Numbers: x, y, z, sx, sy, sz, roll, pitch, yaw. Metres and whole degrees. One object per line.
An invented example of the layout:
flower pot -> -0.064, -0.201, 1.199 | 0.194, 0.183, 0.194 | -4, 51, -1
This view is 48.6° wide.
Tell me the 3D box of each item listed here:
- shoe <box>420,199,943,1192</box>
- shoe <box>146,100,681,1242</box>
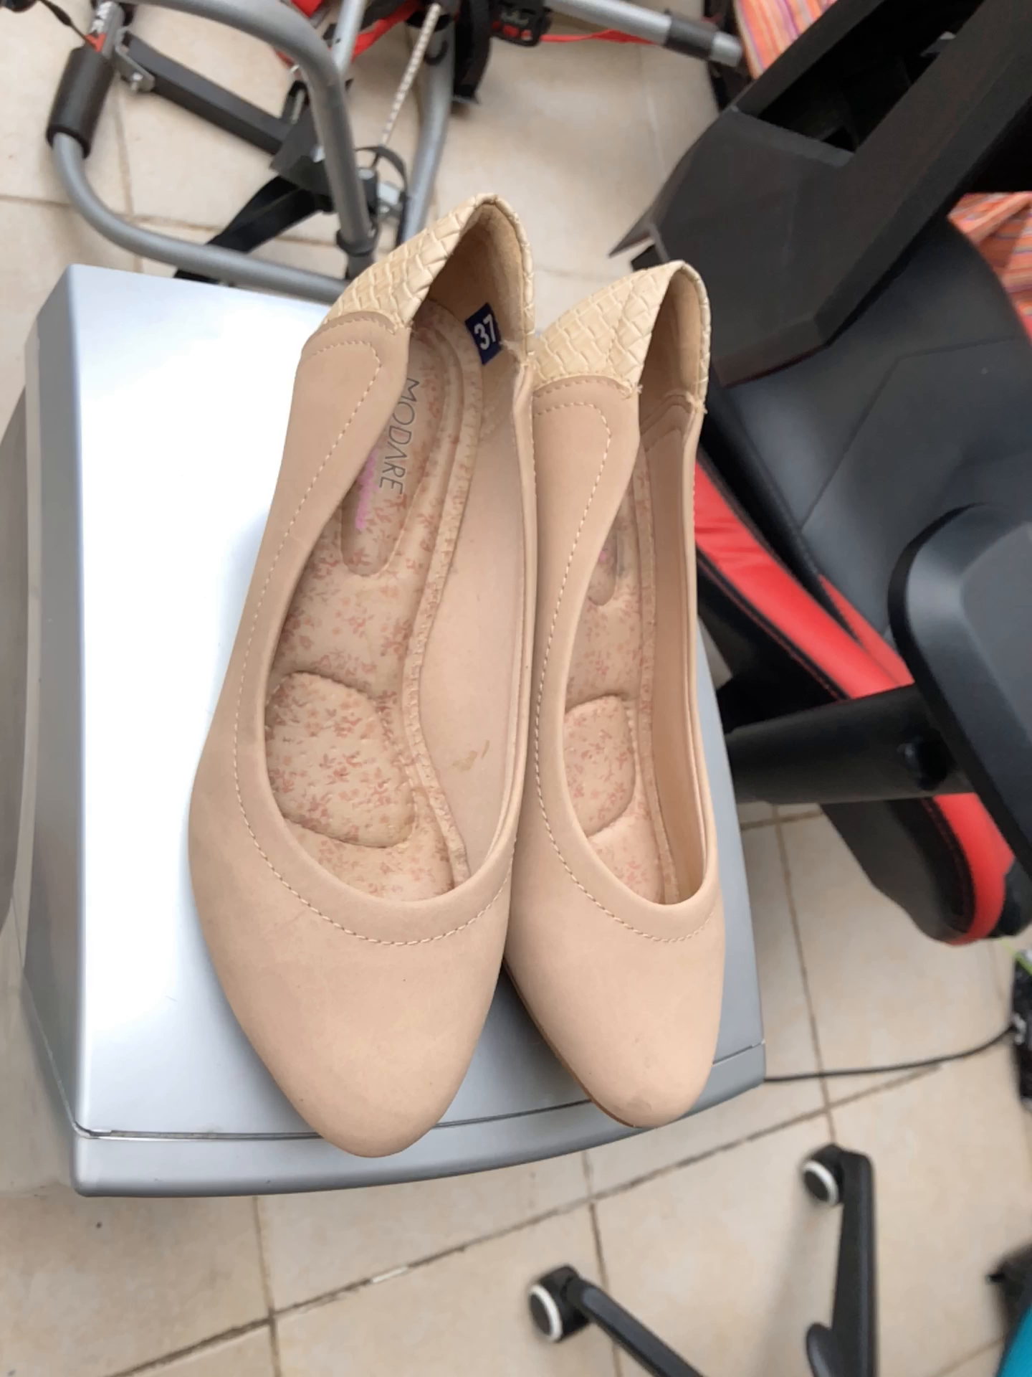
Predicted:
shoe -> 0.040, 0.005, 0.351 | 0.090, 0.119, 0.244 | 4, 79, -30
shoe -> -0.029, -0.001, 0.311 | 0.090, 0.119, 0.244 | 9, 76, -29
